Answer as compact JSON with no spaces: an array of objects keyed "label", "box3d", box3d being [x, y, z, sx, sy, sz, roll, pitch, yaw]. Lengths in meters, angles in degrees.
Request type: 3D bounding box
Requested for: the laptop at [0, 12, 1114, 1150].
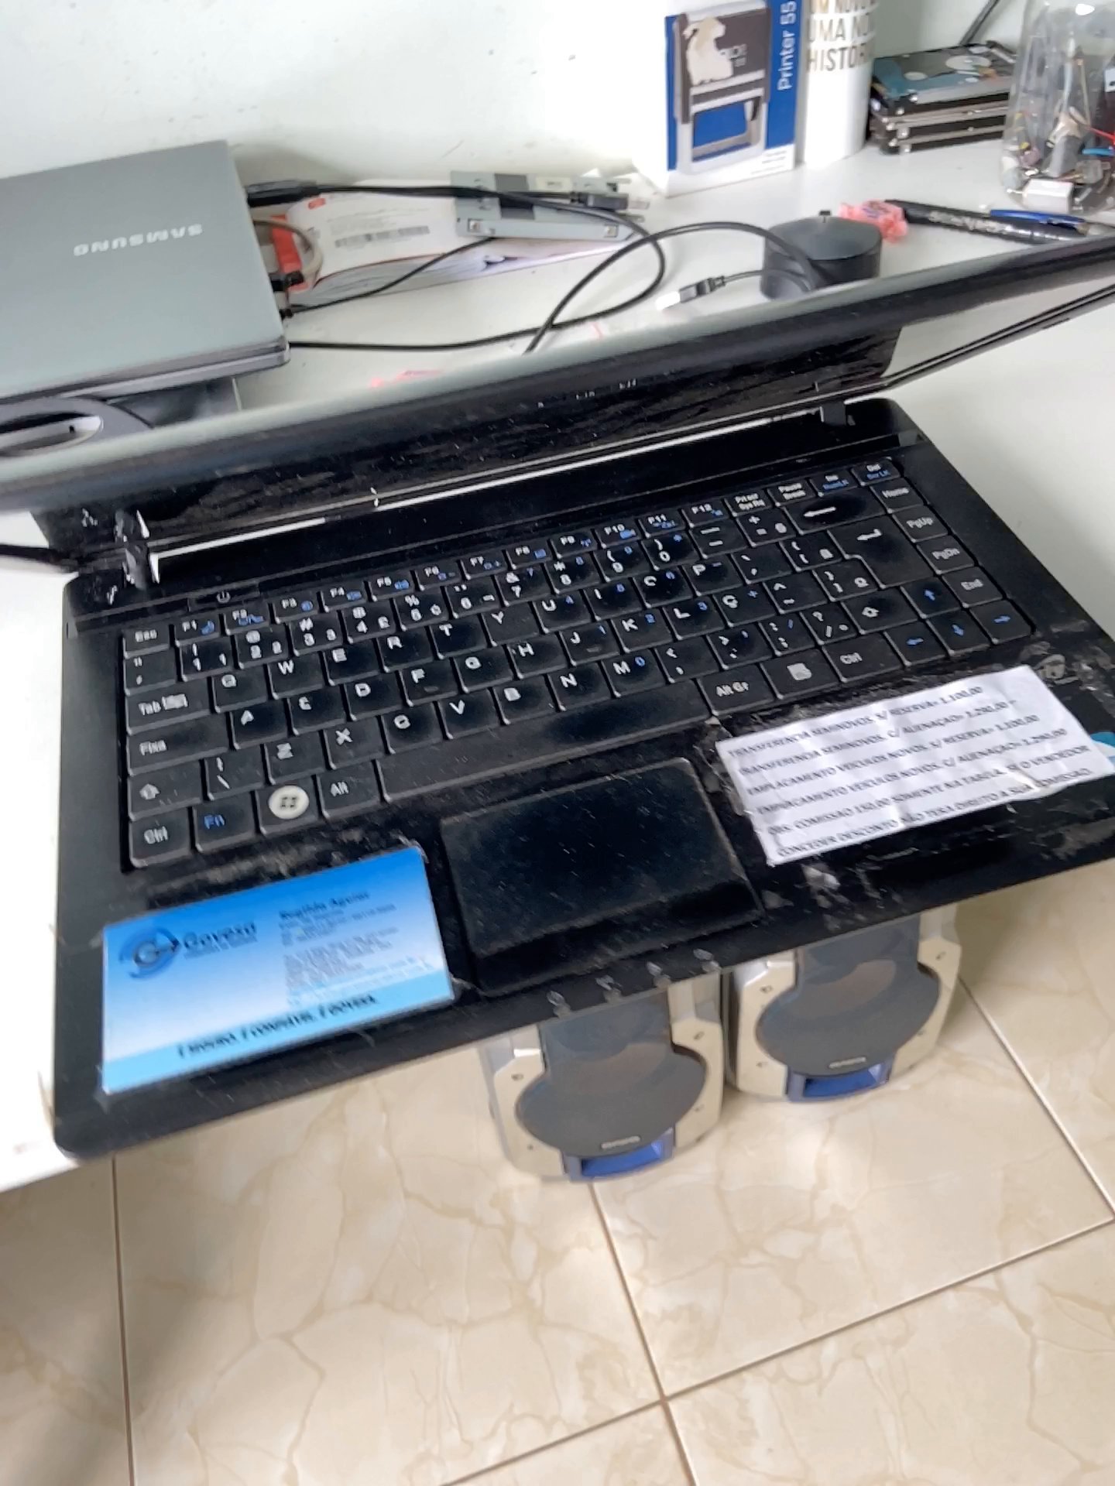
[{"label":"laptop","box3d":[0.002,-0.069,0.330,0.335,0.144,0.228,-15,47,-7]}]
